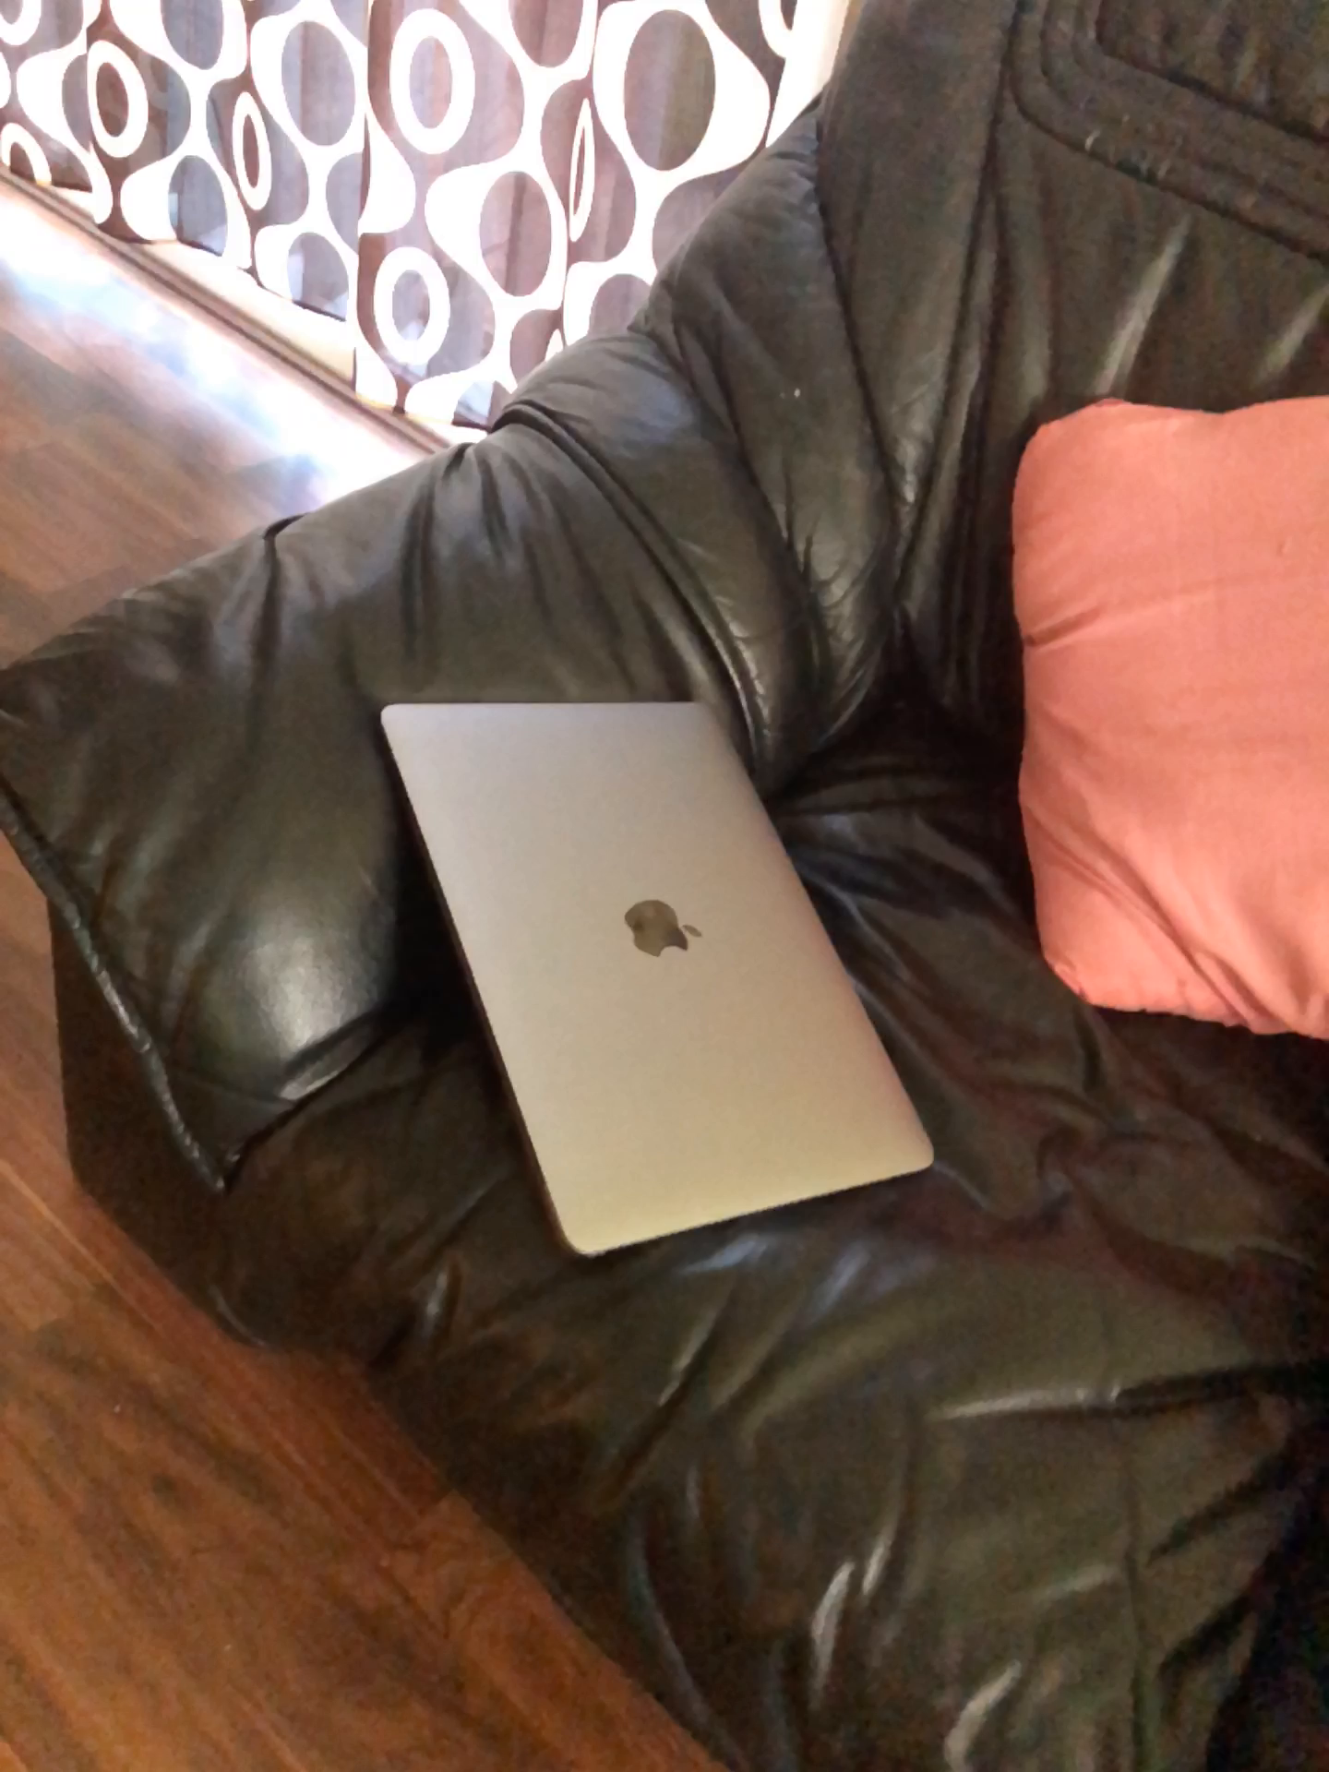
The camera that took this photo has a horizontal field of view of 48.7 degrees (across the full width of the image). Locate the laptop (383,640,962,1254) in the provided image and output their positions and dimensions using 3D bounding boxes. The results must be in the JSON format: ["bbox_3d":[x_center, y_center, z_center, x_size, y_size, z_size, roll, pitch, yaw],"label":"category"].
[{"bbox_3d":[0.000,0.007,0.642,0.185,0.036,0.265,-4,57,-34],"label":"laptop"}]
